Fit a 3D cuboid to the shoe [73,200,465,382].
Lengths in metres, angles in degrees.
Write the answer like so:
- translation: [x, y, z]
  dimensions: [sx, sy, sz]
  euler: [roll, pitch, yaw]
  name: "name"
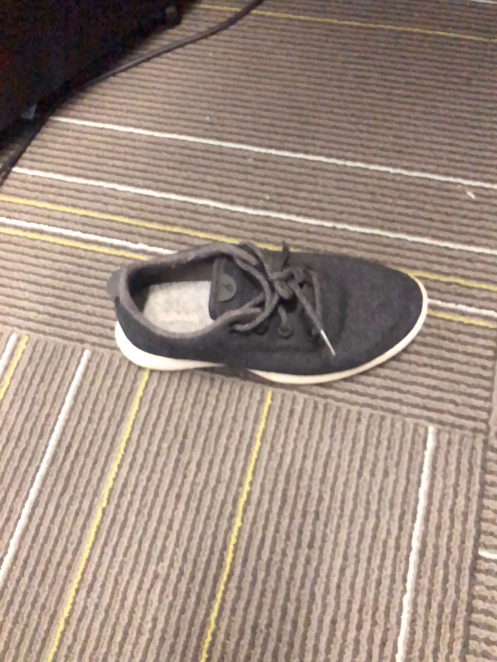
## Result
- translation: [0.014, -0.028, 0.440]
  dimensions: [0.270, 0.070, 0.120]
  euler: [-1, 67, 5]
  name: "shoe"
